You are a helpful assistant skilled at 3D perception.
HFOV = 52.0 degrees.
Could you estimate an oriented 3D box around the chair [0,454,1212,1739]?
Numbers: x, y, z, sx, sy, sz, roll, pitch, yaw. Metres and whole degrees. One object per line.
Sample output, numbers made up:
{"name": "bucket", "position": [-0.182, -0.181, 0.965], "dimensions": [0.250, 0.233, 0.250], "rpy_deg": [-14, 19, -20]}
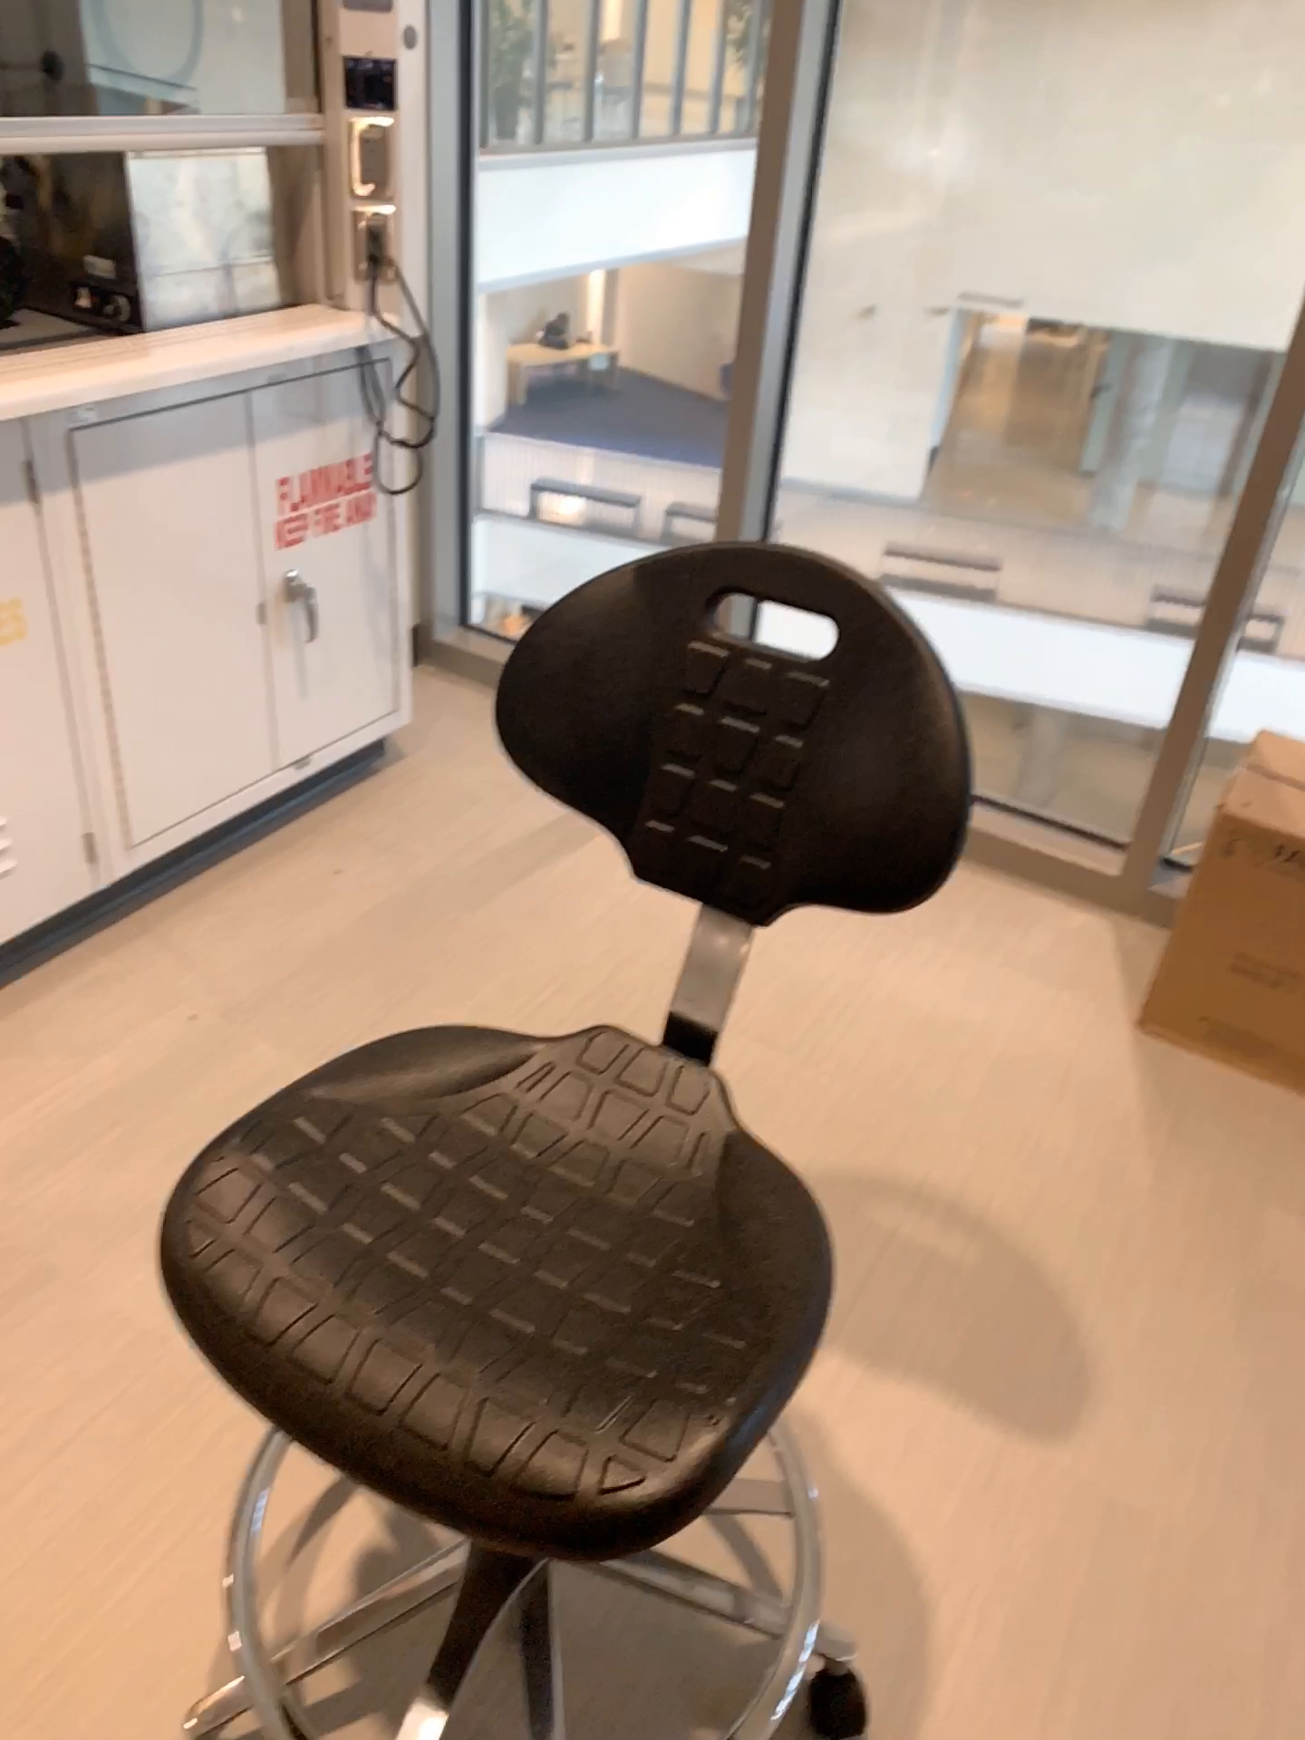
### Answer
{"name": "chair", "position": [-0.076, 0.295, 1.050], "dimensions": [0.671, 0.962, 0.665], "rpy_deg": [17, 34, 17]}
